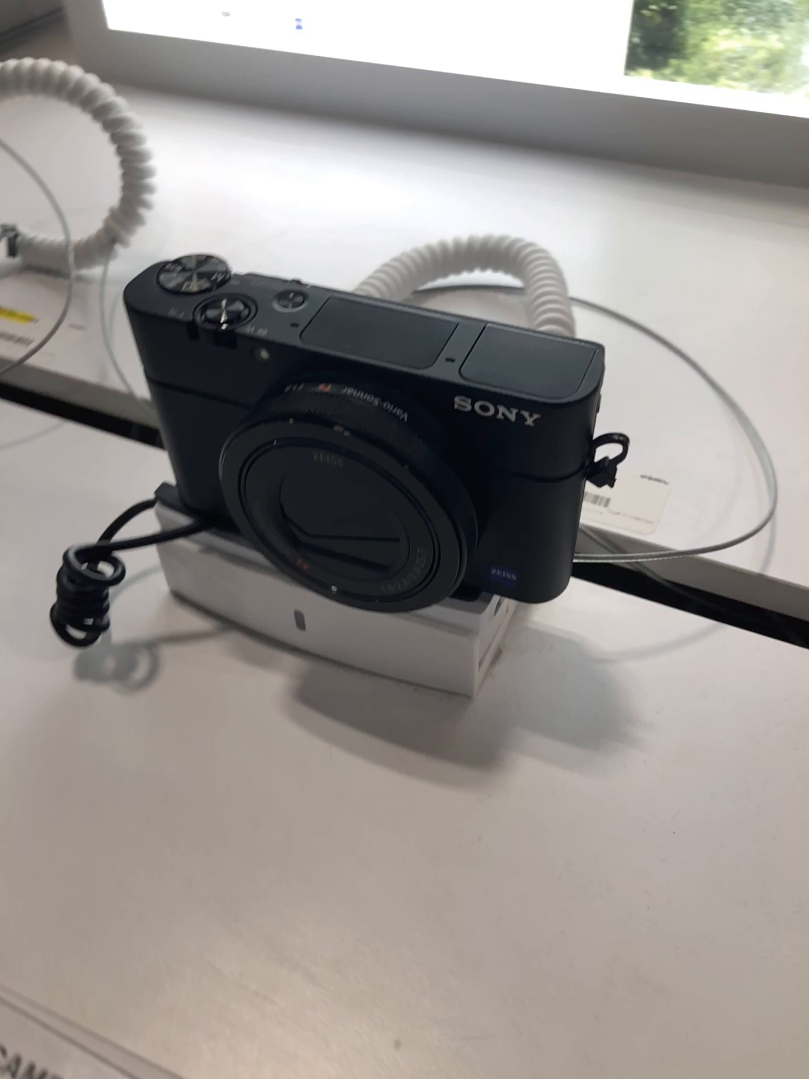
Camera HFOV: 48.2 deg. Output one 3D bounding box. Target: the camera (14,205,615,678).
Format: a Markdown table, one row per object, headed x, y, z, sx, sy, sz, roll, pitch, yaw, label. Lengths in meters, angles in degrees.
| x | y | z | sx | sy | sz | roll | pitch | yaw | label |
| --- | --- | --- | --- | --- | --- | --- | --- | --- | --- |
| -0.018 | -0.023 | 0.199 | 0.110 | 0.070 | 0.040 | 16 | 47 | 18 | camera |
